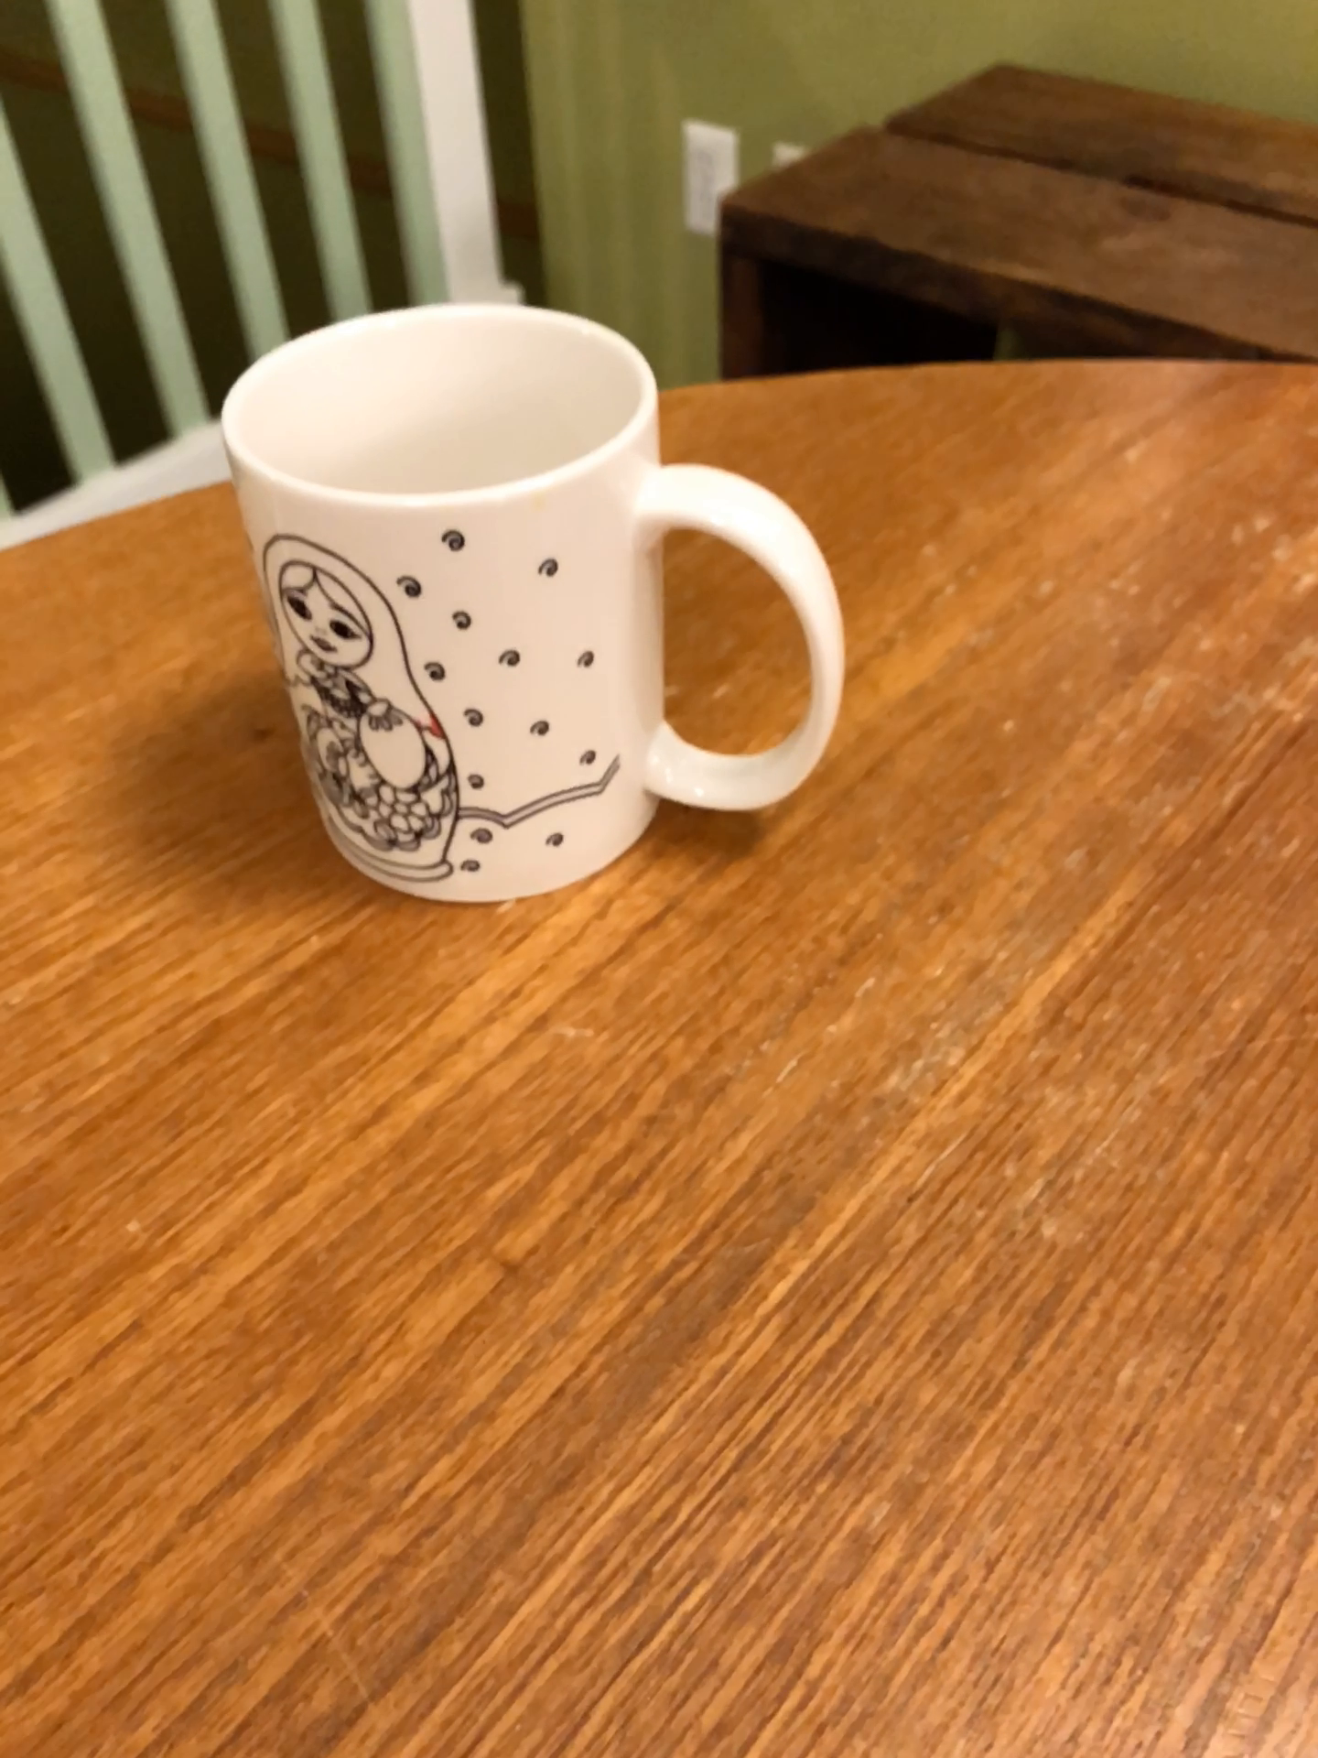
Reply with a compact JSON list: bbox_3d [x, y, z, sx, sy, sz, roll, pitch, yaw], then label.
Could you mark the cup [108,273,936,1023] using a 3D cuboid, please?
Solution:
[{"bbox_3d":[-0.021,-0.051,0.304,0.126,0.099,0.088,15,46,18],"label":"cup"}]
